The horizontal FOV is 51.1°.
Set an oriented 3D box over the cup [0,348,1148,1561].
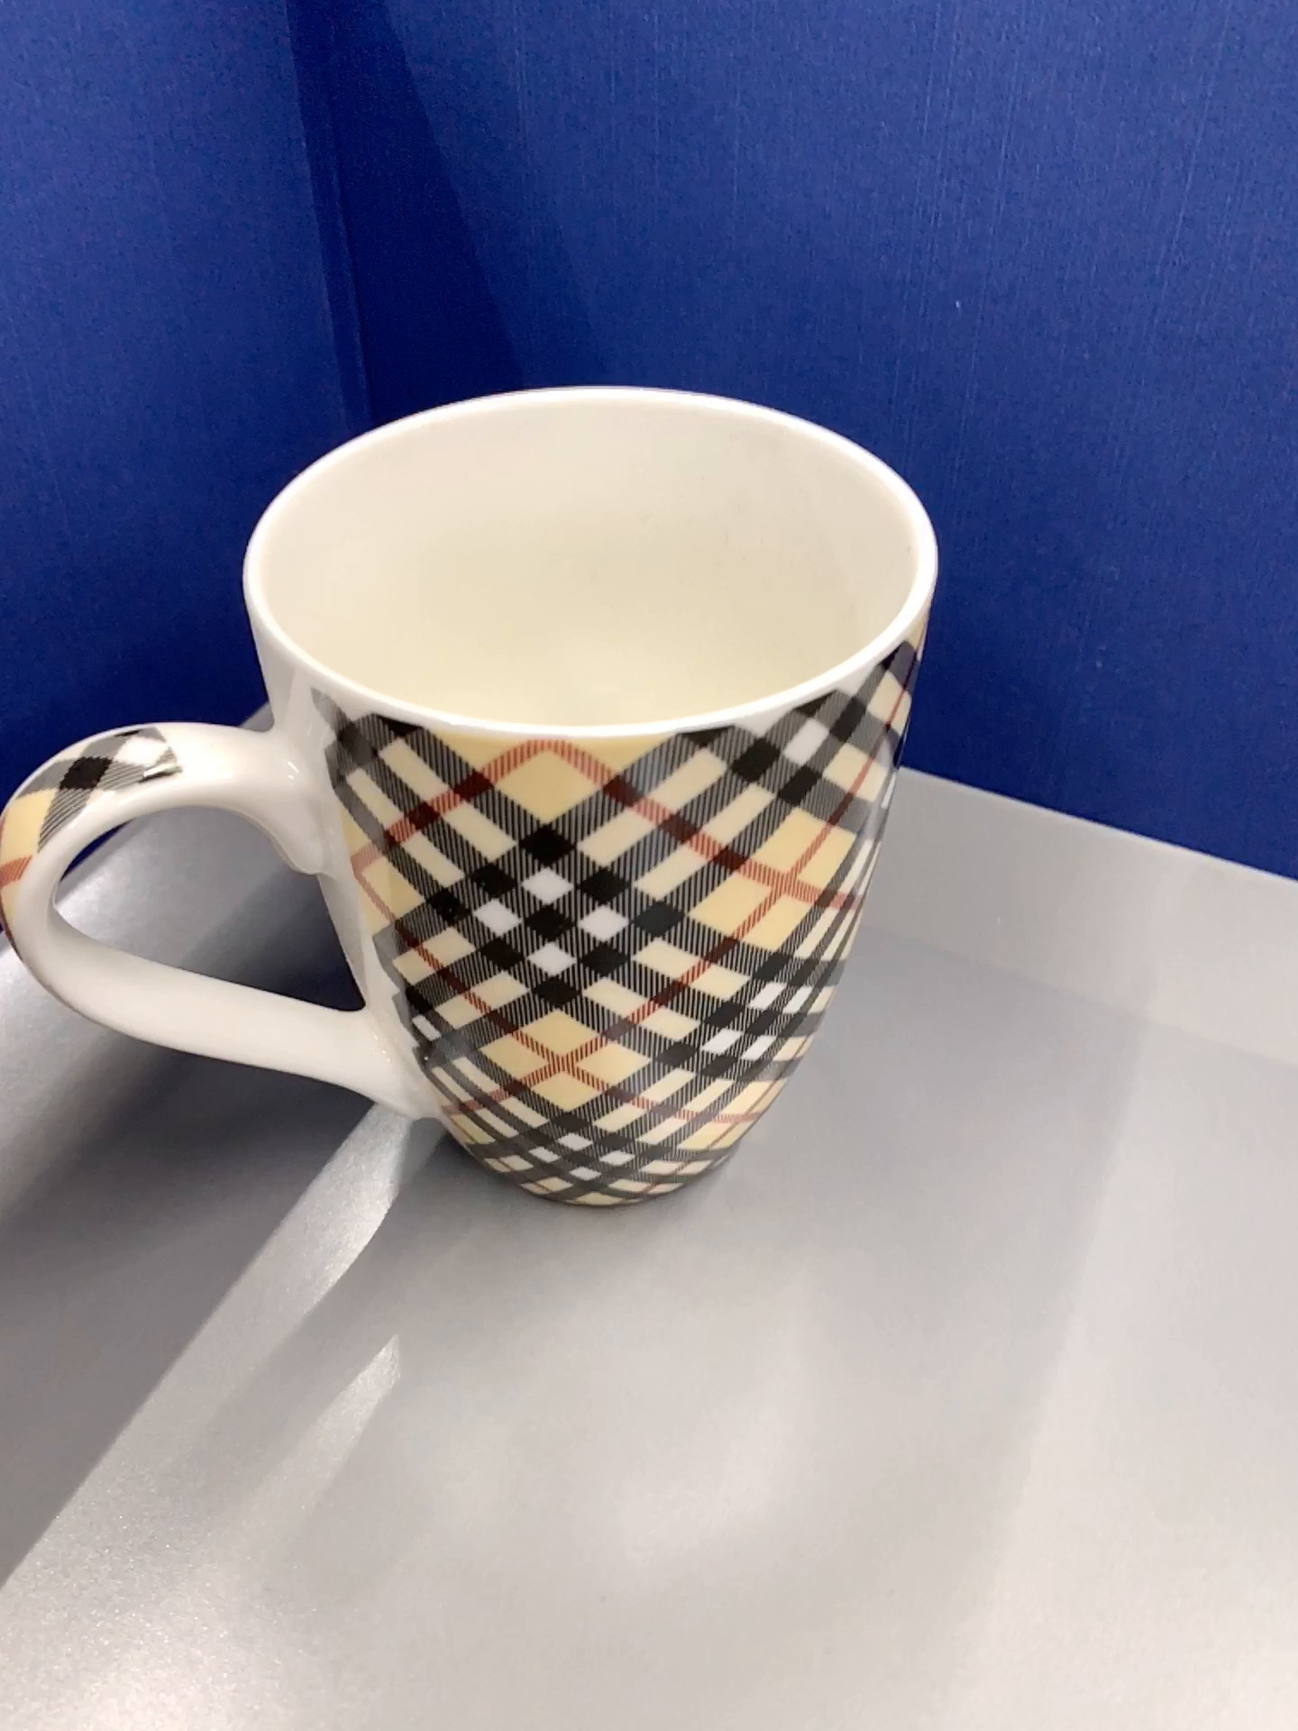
[{"bbox_3d":[-0.021,0.004,0.189,0.120,0.104,0.091,-17,43,-20],"label":"cup"}]
